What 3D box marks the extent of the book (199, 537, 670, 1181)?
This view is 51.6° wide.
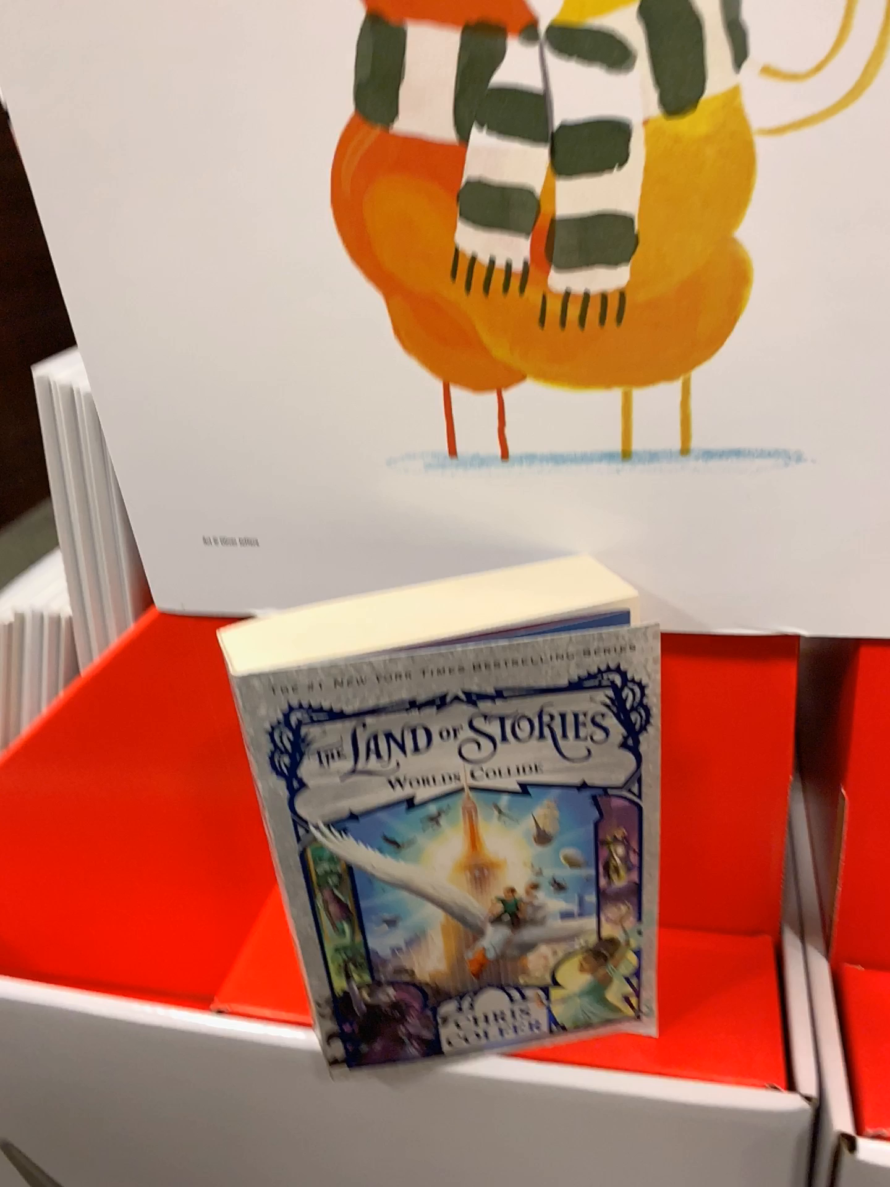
[{"bbox_3d":[0.003,0.094,0.327,0.129,0.193,0.065,-14,27,-12],"label":"book"}]
